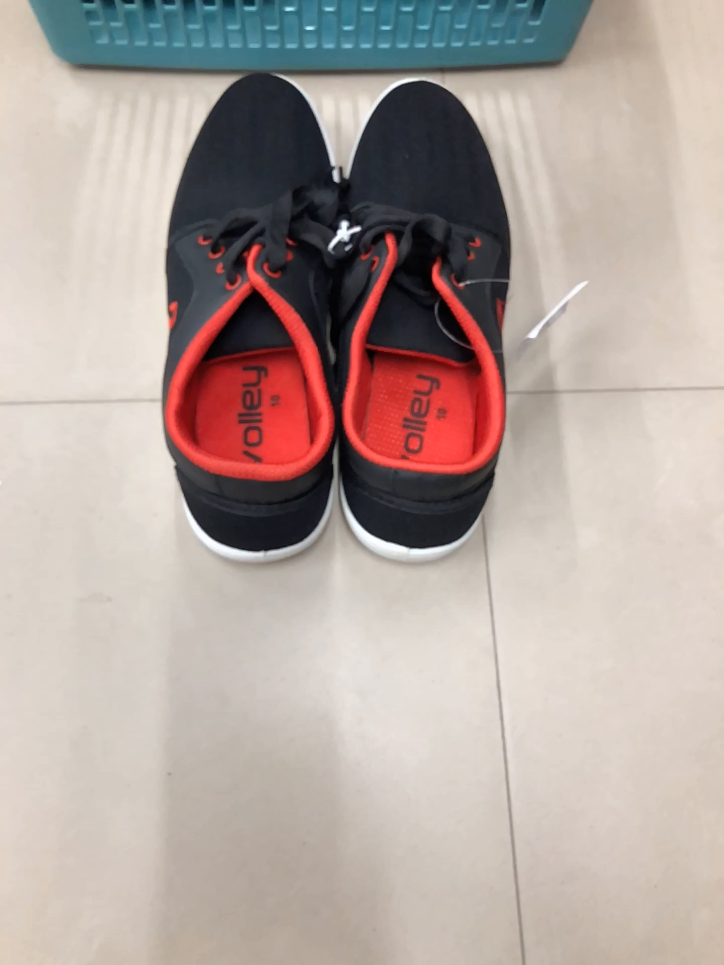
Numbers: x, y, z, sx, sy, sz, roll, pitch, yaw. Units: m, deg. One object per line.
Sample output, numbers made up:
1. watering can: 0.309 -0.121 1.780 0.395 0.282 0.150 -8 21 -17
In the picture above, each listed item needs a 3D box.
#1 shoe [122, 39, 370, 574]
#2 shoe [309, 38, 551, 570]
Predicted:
1. shoe: -0.062 -0.093 0.432 0.105 0.103 0.260 -4 72 -5
2. shoe: 0.033 -0.094 0.438 0.105 0.103 0.261 3 72 -2
